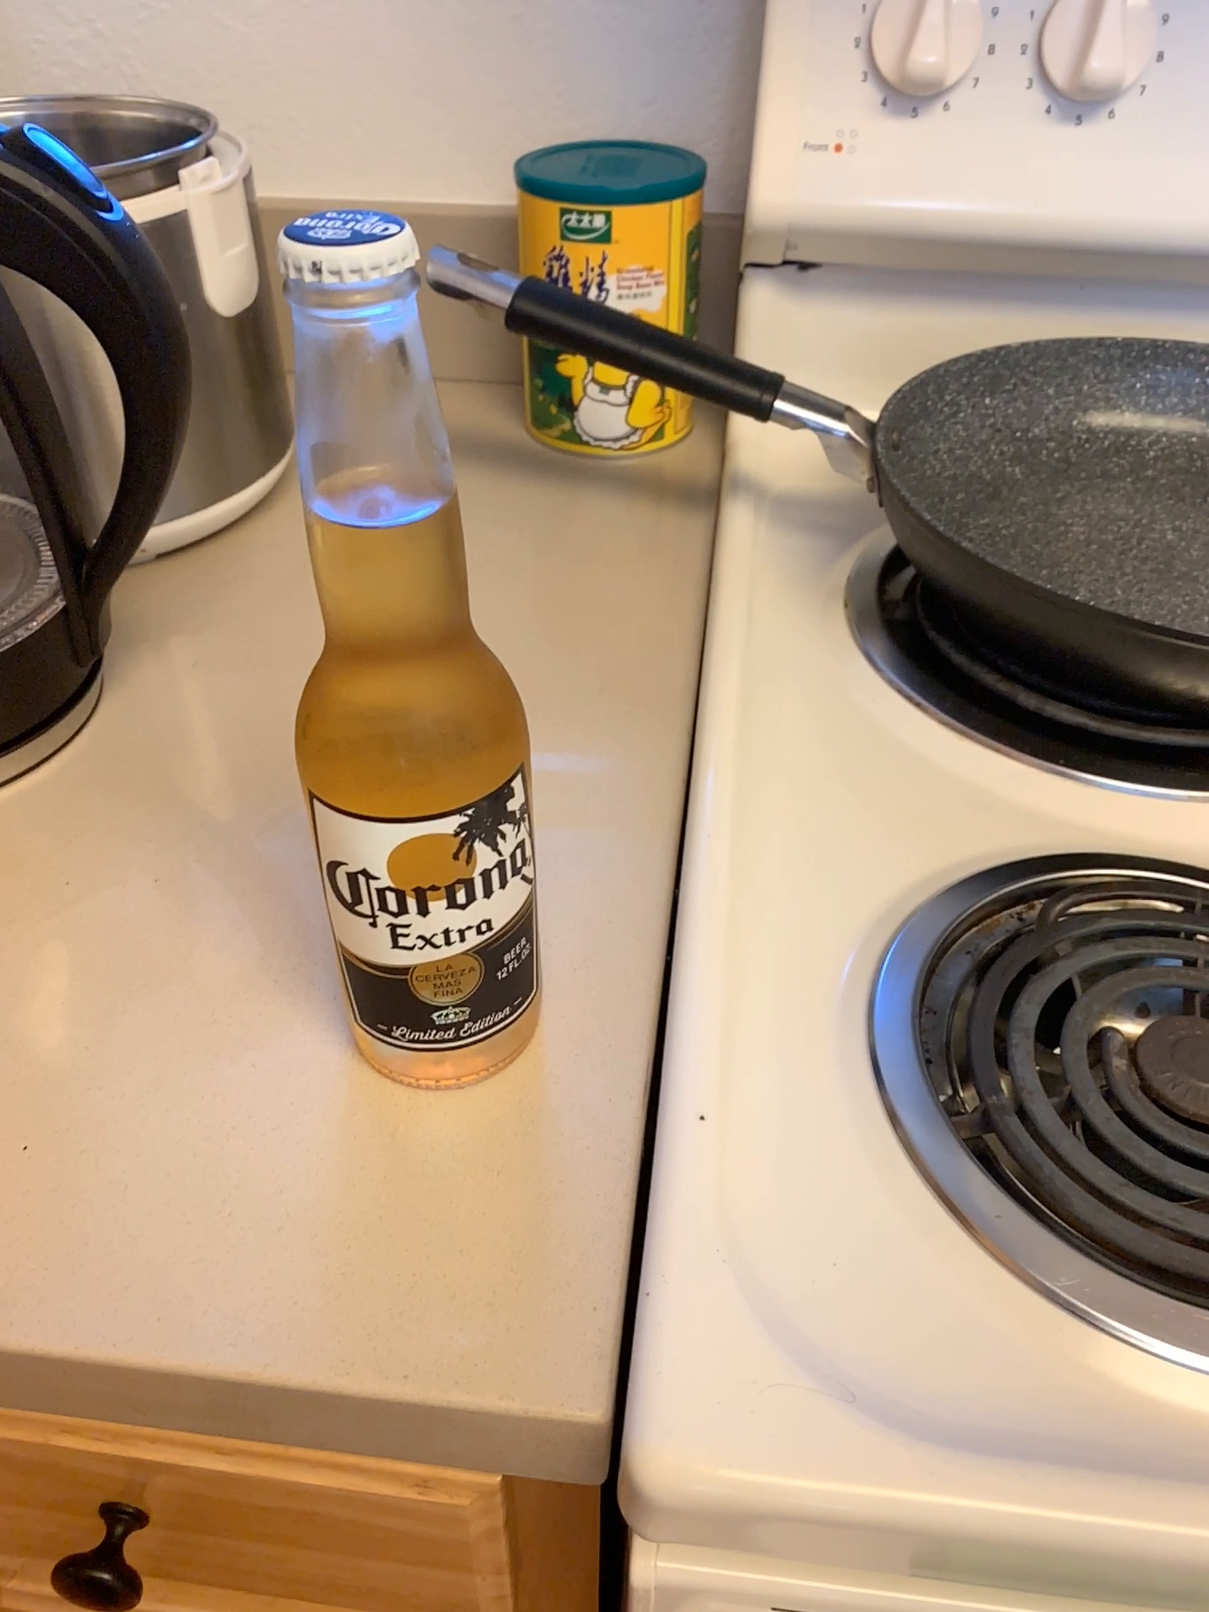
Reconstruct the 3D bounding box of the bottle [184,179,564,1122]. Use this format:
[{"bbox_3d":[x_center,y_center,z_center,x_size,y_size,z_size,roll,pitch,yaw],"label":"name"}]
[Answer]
[{"bbox_3d":[-0.049,-0.023,0.310,0.059,0.226,0.064,0,40,0],"label":"bottle"}]
